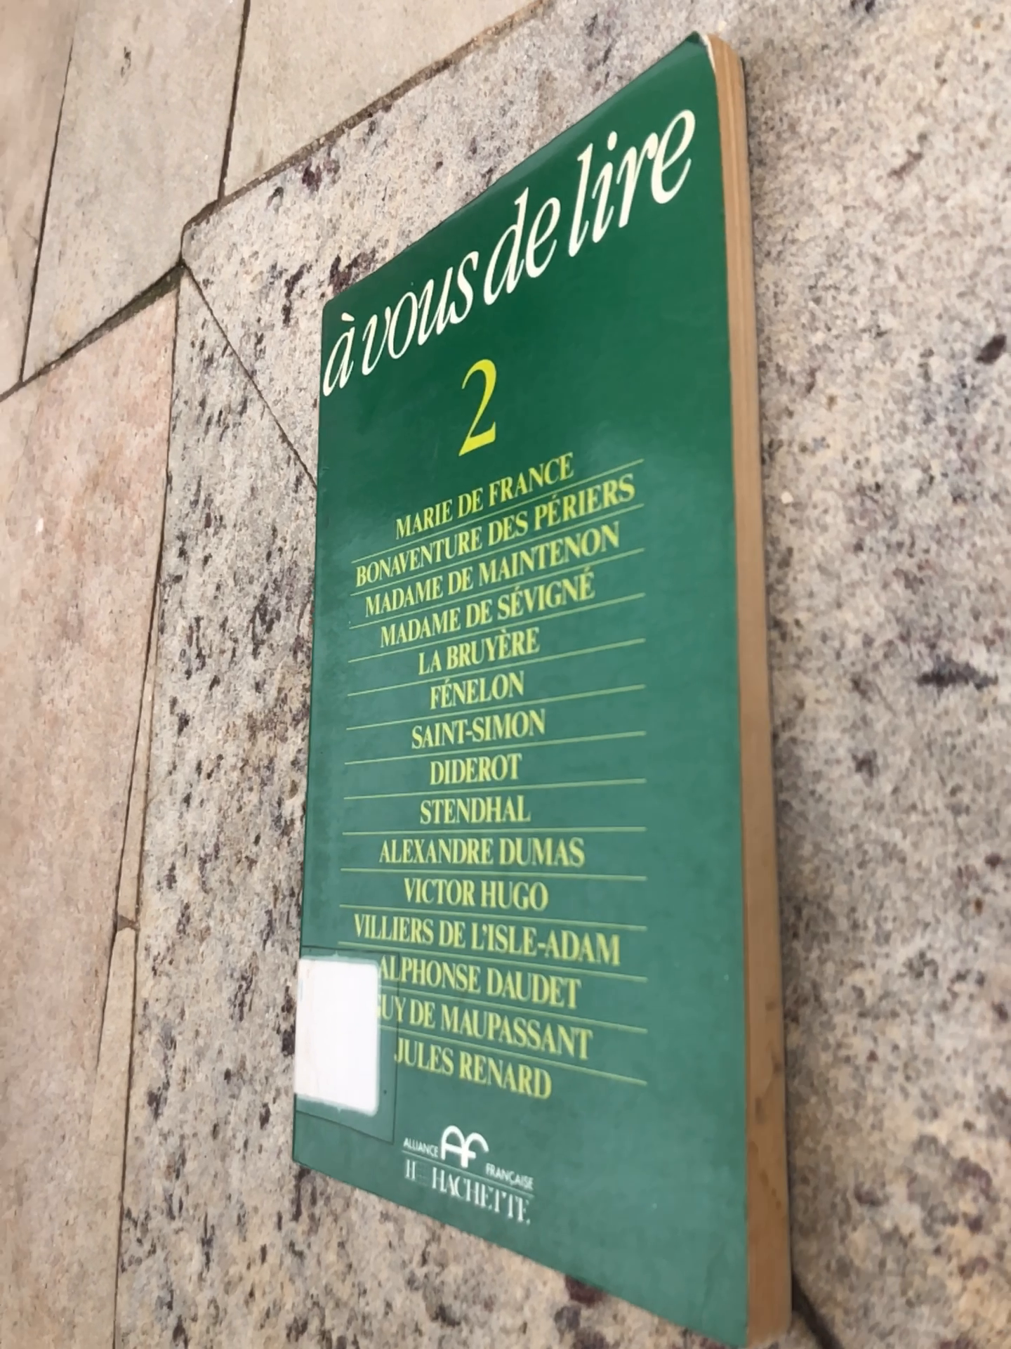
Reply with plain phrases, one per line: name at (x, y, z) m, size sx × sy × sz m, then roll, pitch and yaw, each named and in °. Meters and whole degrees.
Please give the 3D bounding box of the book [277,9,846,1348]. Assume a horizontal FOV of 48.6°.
book at (0.001, 0.002, 0.228) m, size 0.141 × 0.017 × 0.210 m, roll -11°, pitch 73°, yaw 51°
